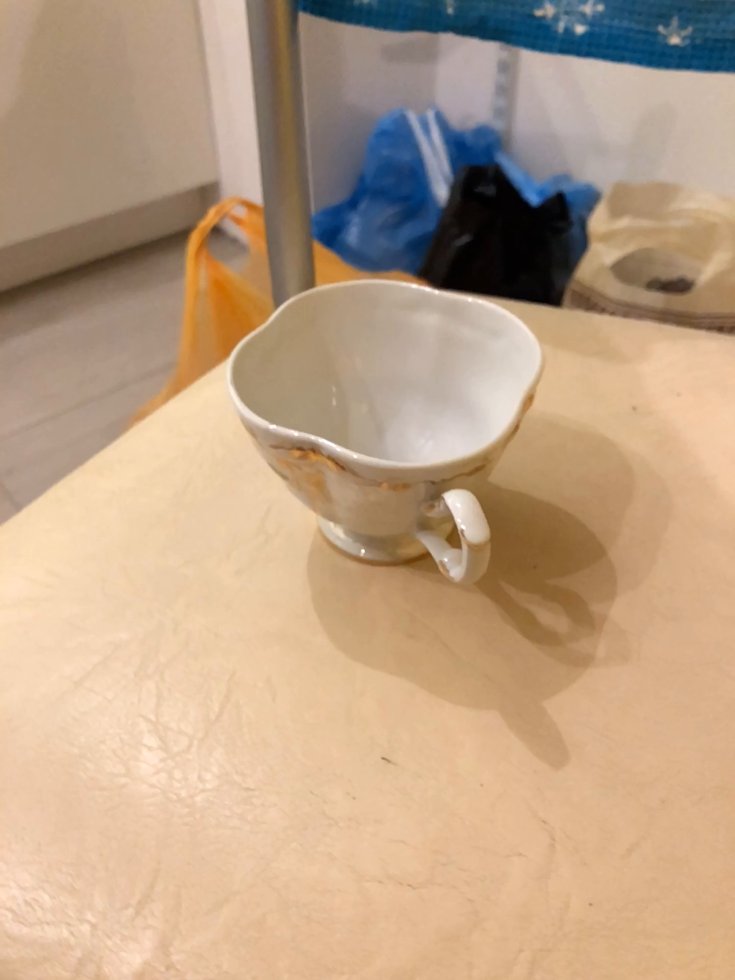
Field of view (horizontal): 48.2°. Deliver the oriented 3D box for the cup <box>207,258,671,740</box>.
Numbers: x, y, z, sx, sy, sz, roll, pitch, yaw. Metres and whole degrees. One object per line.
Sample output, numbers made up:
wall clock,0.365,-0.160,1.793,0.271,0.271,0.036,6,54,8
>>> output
cup,0.010,-0.008,0.266,0.100,0.064,0.140,-10,42,-10
